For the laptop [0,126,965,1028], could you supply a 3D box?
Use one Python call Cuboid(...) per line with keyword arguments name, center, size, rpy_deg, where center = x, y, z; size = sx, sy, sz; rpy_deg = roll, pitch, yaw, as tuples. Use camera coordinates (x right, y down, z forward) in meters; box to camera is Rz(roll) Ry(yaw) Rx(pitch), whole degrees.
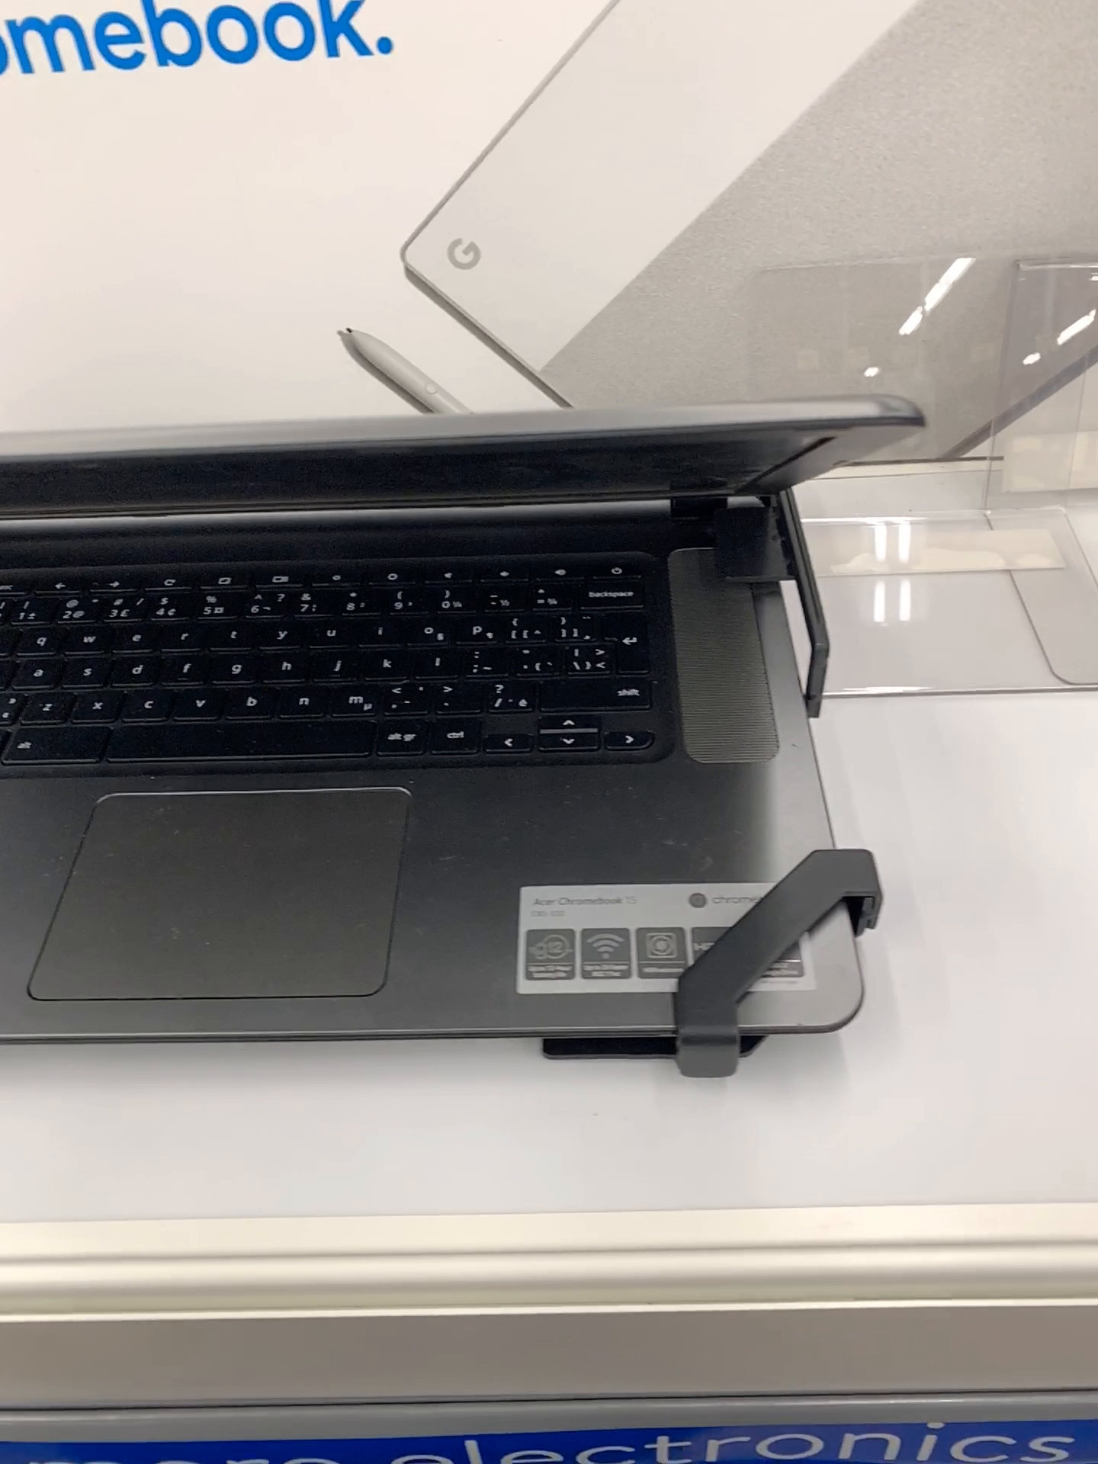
Cuboid(name="laptop", center=(-0.084, -0.045, 0.284), size=(0.301, 0.116, 0.194), rpy_deg=(-1, 48, 3))
